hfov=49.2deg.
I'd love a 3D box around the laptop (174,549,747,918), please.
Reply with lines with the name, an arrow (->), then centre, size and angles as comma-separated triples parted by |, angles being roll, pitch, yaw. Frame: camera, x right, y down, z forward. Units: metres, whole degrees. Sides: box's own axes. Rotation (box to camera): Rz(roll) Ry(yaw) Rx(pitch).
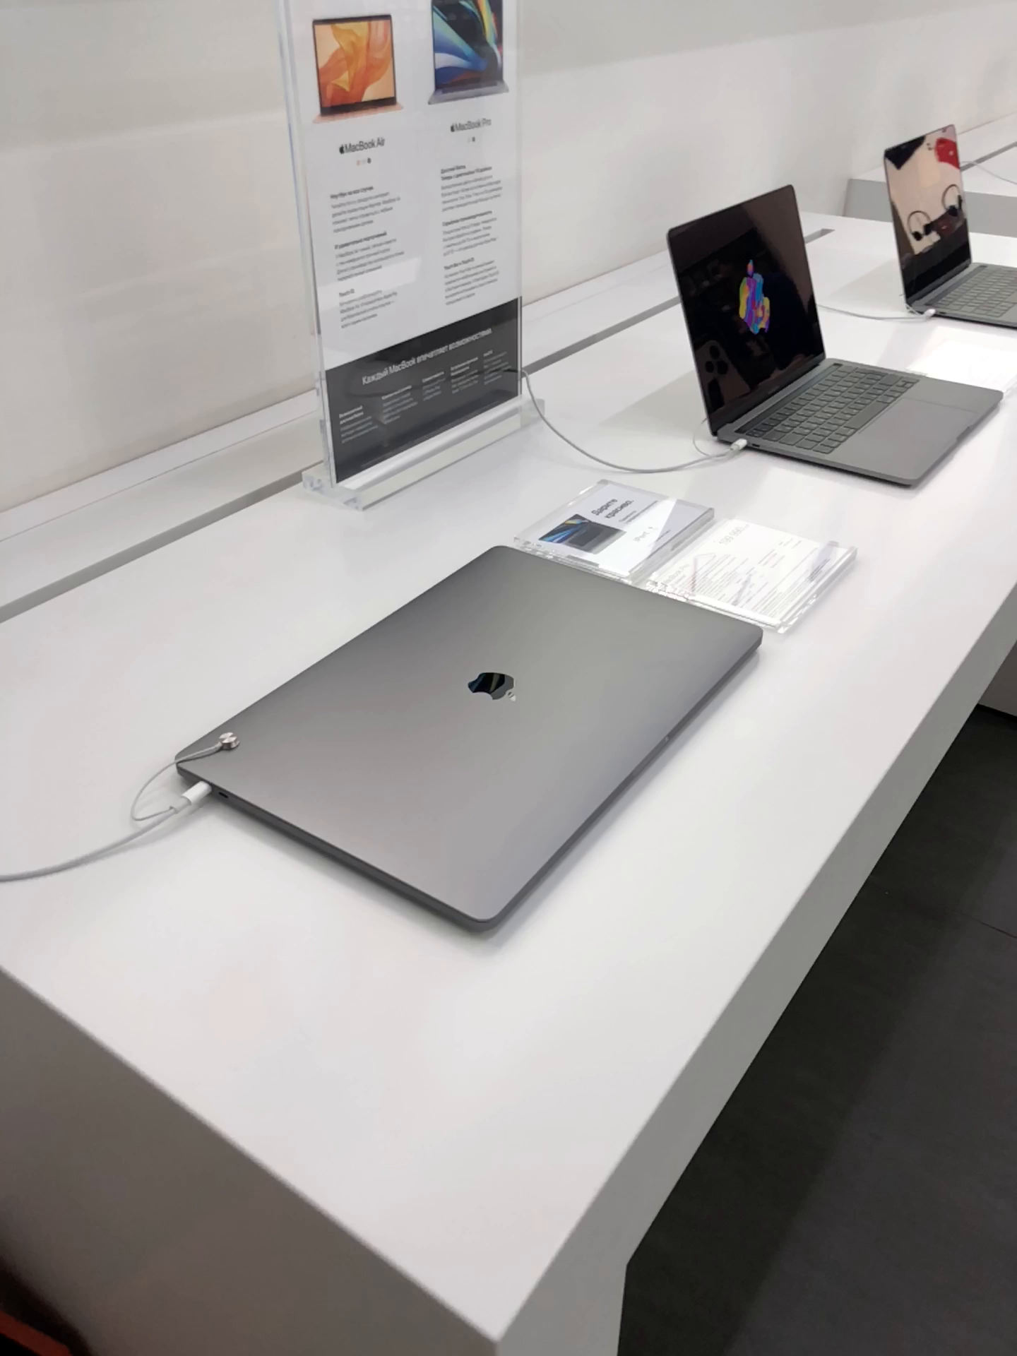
laptop -> -0.016, 0.009, 0.759 | 0.231, 0.003, 0.346 | 21, 39, 28
